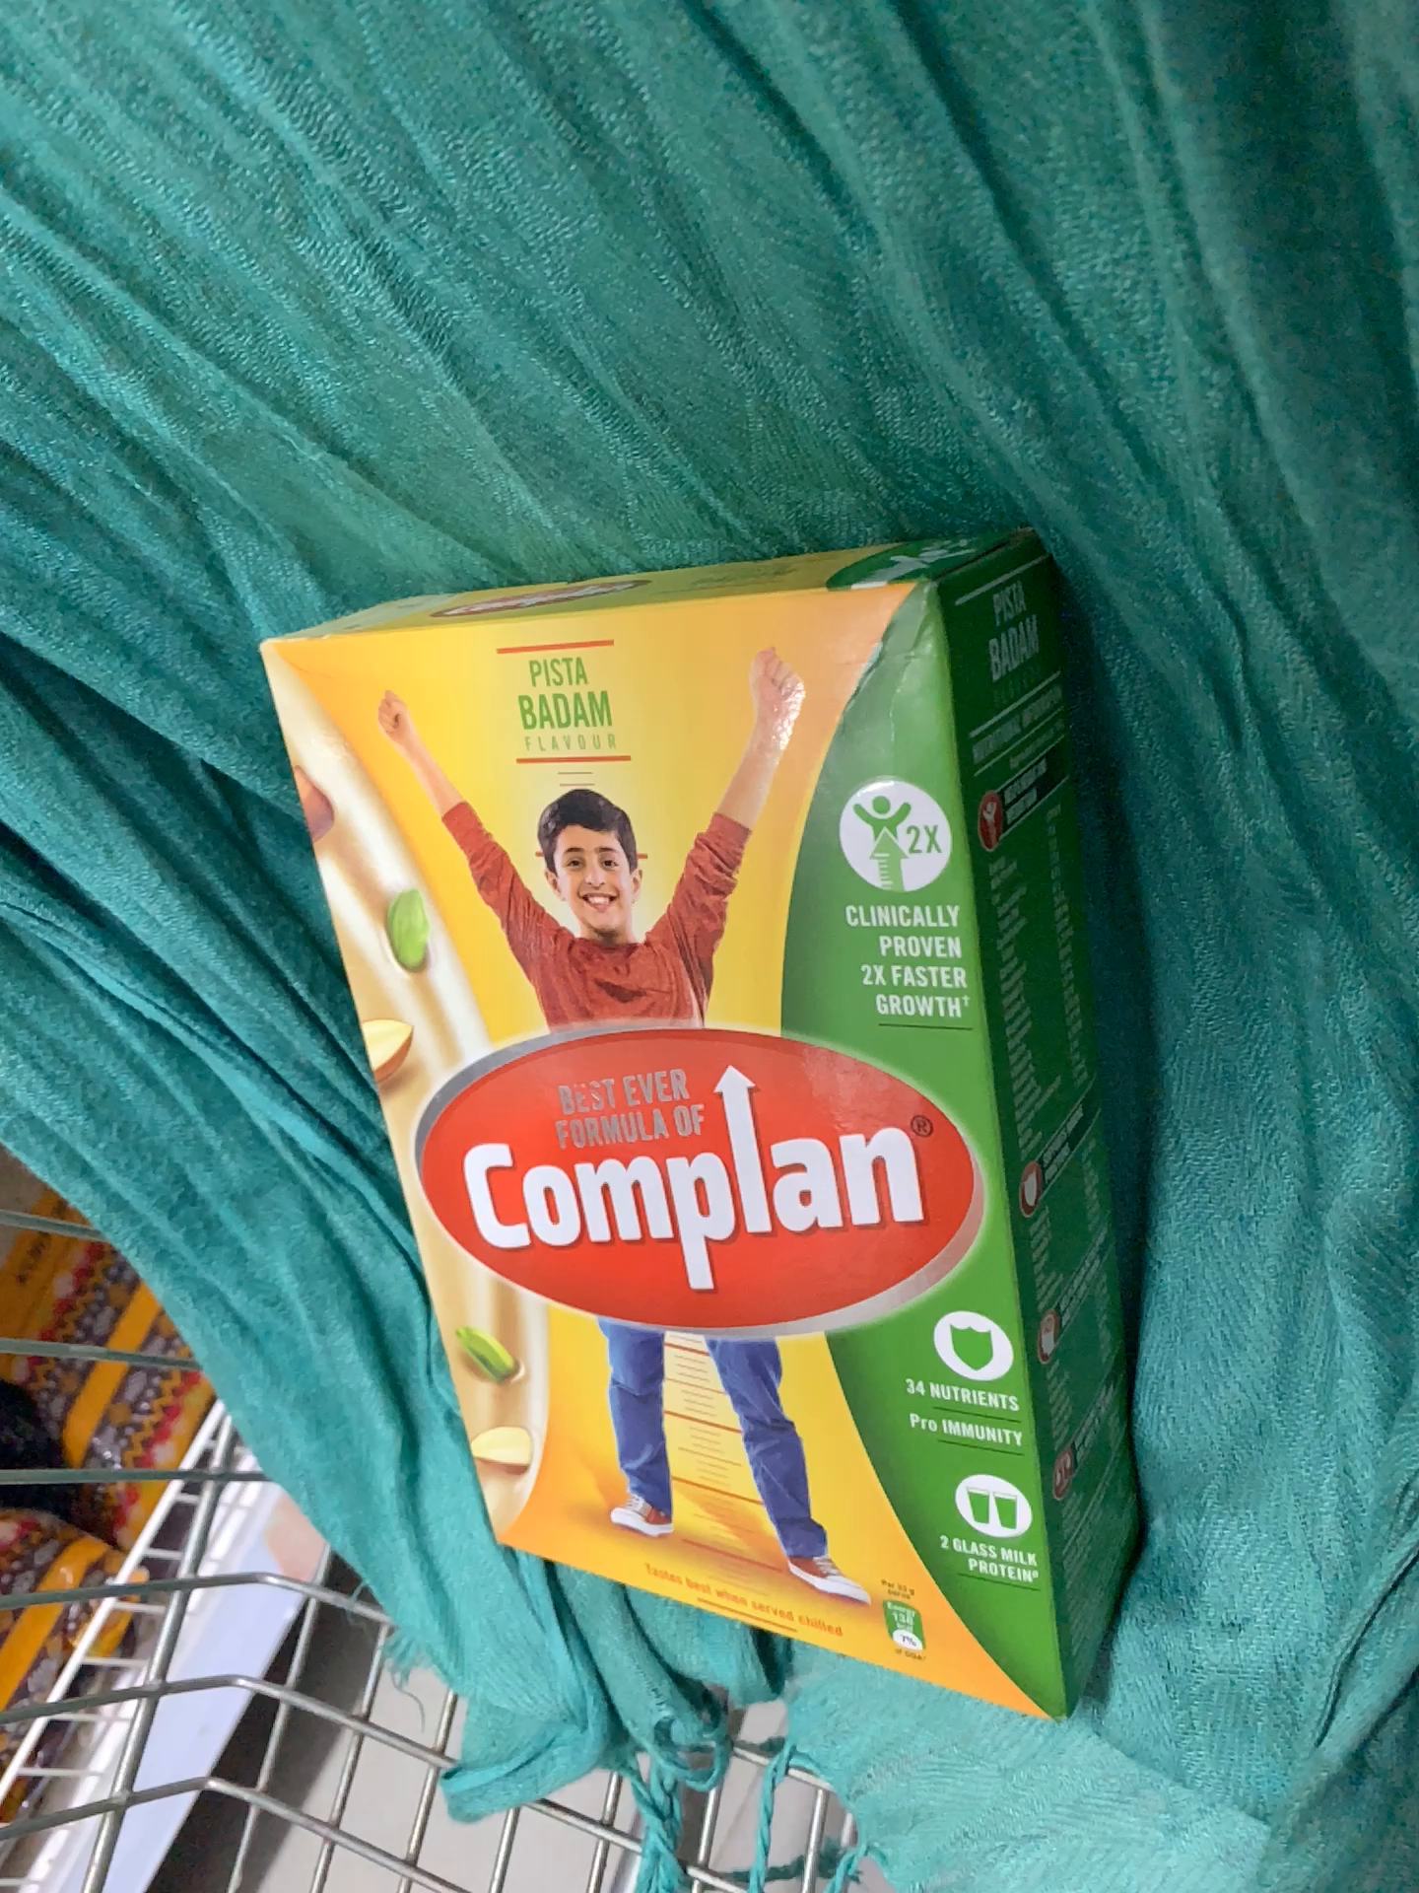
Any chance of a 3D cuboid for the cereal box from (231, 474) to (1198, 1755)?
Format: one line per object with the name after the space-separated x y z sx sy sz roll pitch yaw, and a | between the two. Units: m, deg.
0.006 0.028 0.275 0.141 0.060 0.200 1 110 33 | cereal box
